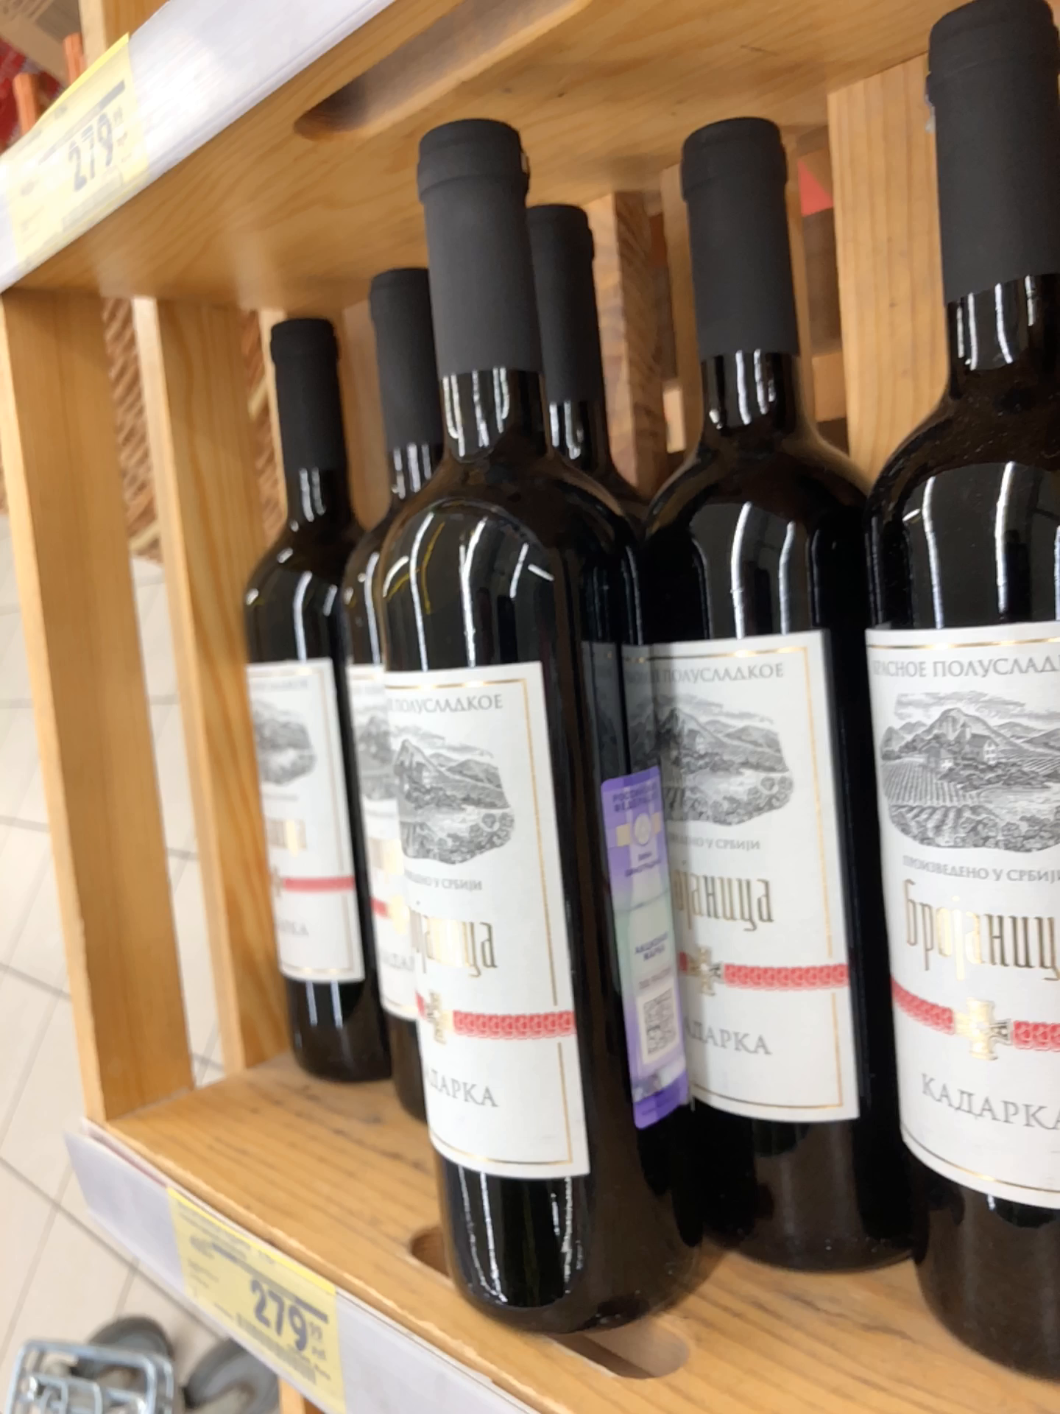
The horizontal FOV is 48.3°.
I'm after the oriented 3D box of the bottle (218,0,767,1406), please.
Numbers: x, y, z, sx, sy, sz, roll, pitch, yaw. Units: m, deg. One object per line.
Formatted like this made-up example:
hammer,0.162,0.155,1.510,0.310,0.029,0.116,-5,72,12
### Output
bottle,-0.008,-0.001,0.310,0.080,0.080,0.309,0,98,49
